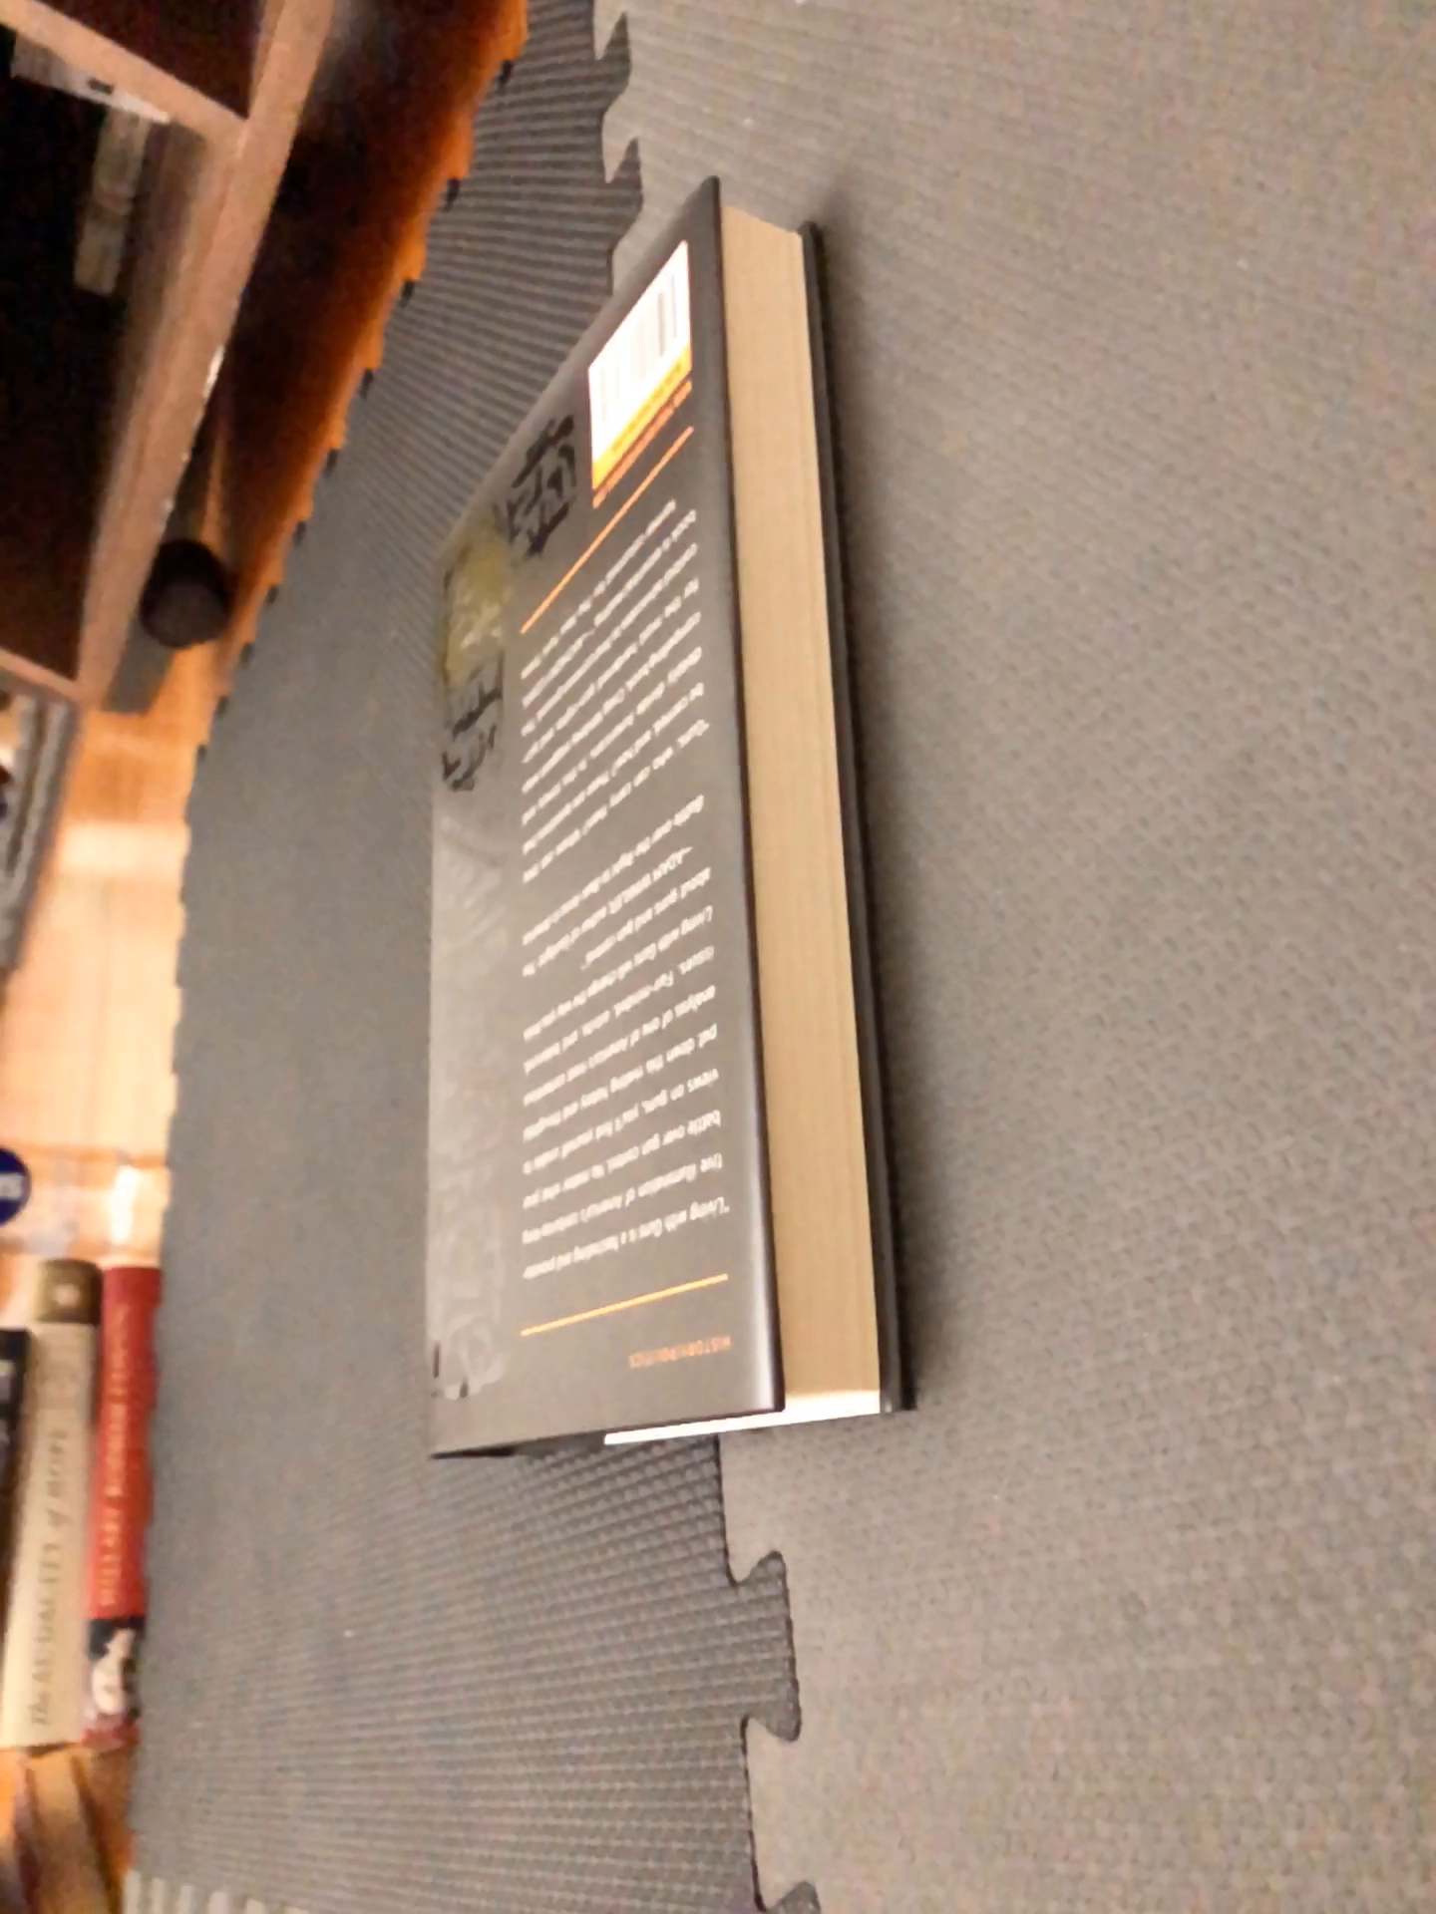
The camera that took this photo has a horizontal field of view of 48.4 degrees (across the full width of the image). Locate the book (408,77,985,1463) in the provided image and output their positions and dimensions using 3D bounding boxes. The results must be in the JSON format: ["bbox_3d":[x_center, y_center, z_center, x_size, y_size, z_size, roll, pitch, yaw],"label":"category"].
[{"bbox_3d":[-0.018,-0.025,0.357,0.170,0.040,0.260,-31,55,57],"label":"book"}]
